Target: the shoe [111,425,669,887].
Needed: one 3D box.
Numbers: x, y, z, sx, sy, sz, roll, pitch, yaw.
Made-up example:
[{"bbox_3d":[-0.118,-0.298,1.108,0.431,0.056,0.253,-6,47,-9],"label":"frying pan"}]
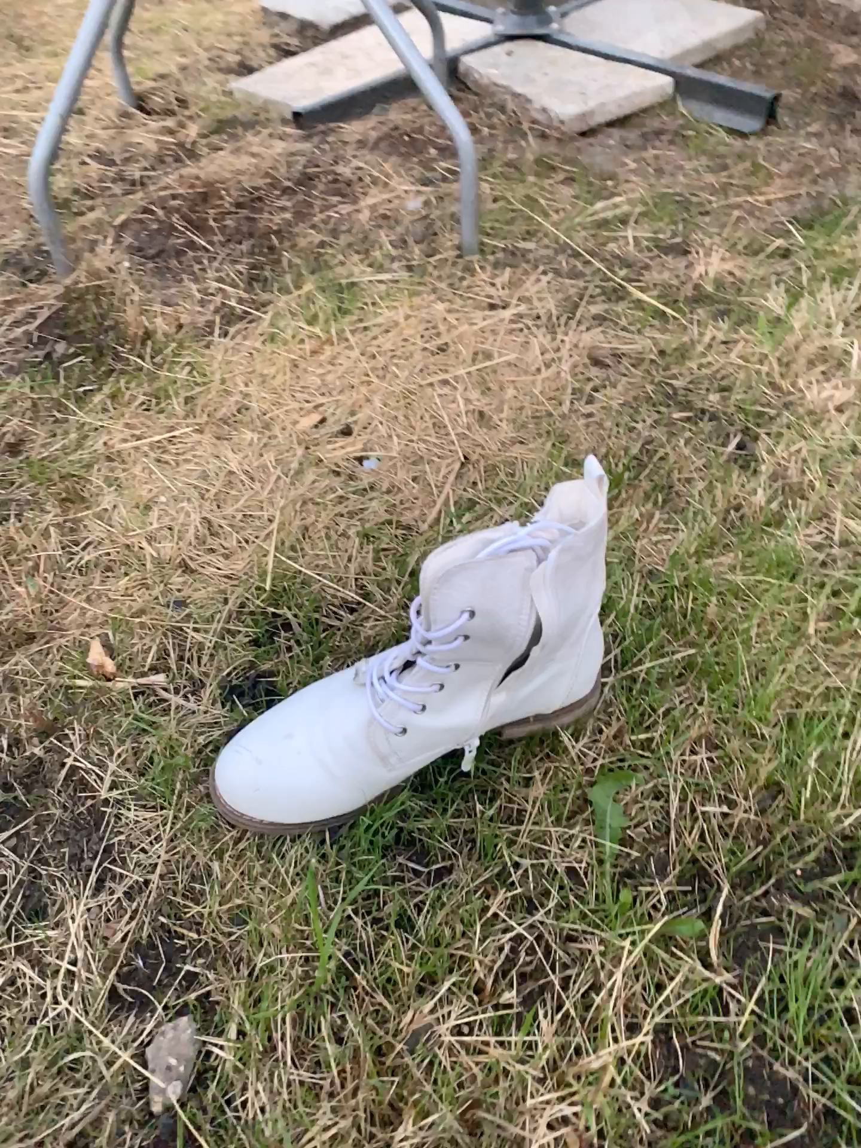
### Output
[{"bbox_3d":[-0.018,0.048,0.501,0.260,0.178,0.101,-17,48,-12],"label":"shoe"}]
